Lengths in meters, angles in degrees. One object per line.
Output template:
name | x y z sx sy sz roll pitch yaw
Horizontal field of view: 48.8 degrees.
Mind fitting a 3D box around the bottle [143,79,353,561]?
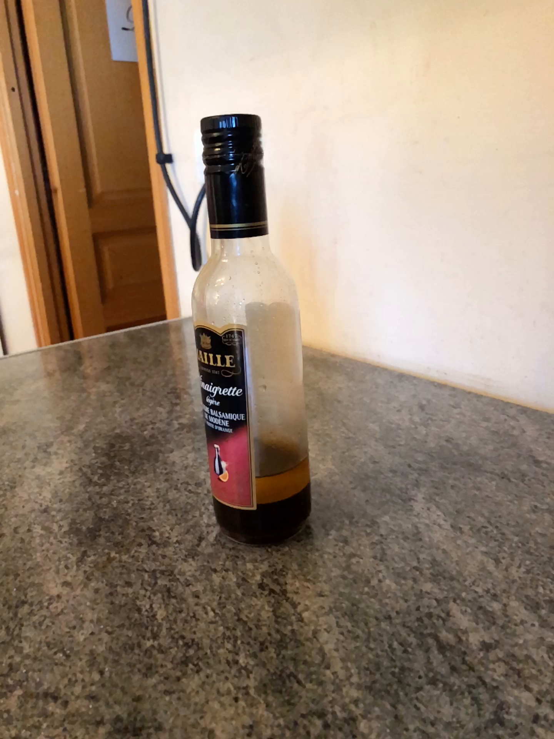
bottle | -0.011 -0.025 0.332 0.070 0.229 0.070 -3 16 1
